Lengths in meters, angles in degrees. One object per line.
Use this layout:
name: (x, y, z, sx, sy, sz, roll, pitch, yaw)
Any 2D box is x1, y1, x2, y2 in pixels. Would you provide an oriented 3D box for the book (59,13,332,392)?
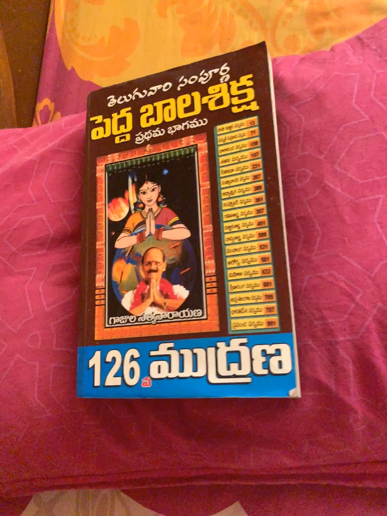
book: (-0.005, -0.036, 0.306, 0.180, 0.050, 0.260, -7, 74, 19)
